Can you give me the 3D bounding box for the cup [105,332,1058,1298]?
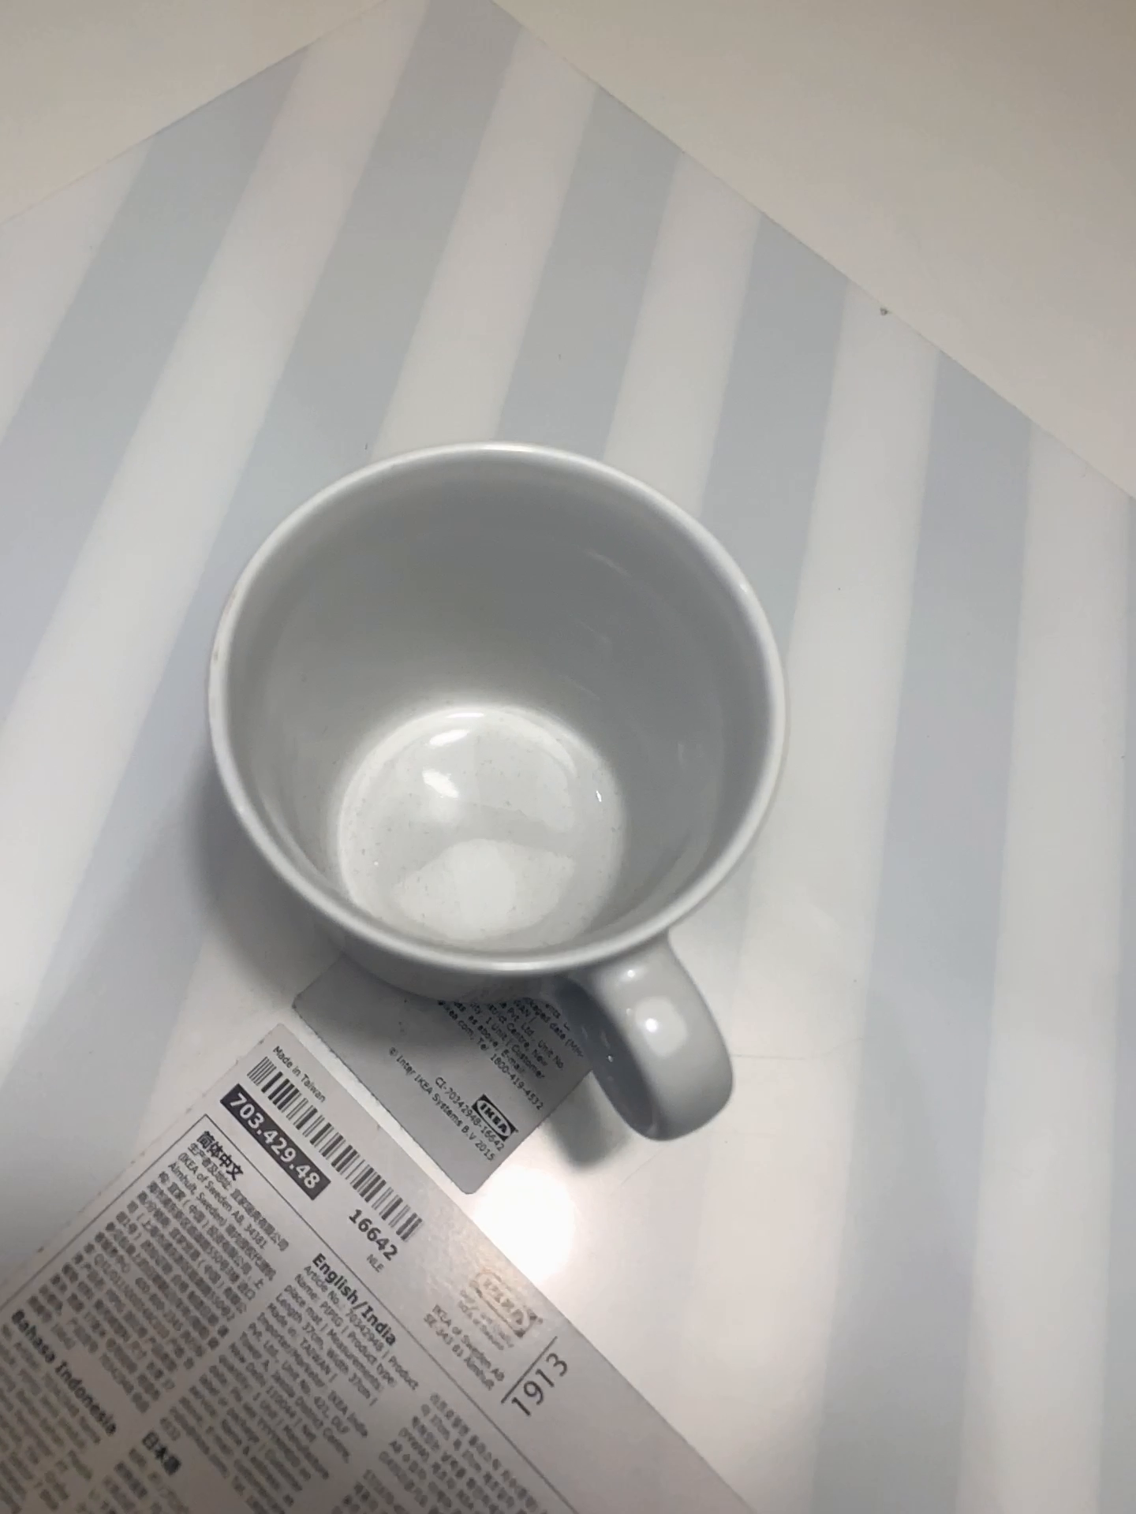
[{"bbox_3d":[-0.004,0.012,0.192,0.080,0.080,0.110,-30,75,-18],"label":"cup"}]
